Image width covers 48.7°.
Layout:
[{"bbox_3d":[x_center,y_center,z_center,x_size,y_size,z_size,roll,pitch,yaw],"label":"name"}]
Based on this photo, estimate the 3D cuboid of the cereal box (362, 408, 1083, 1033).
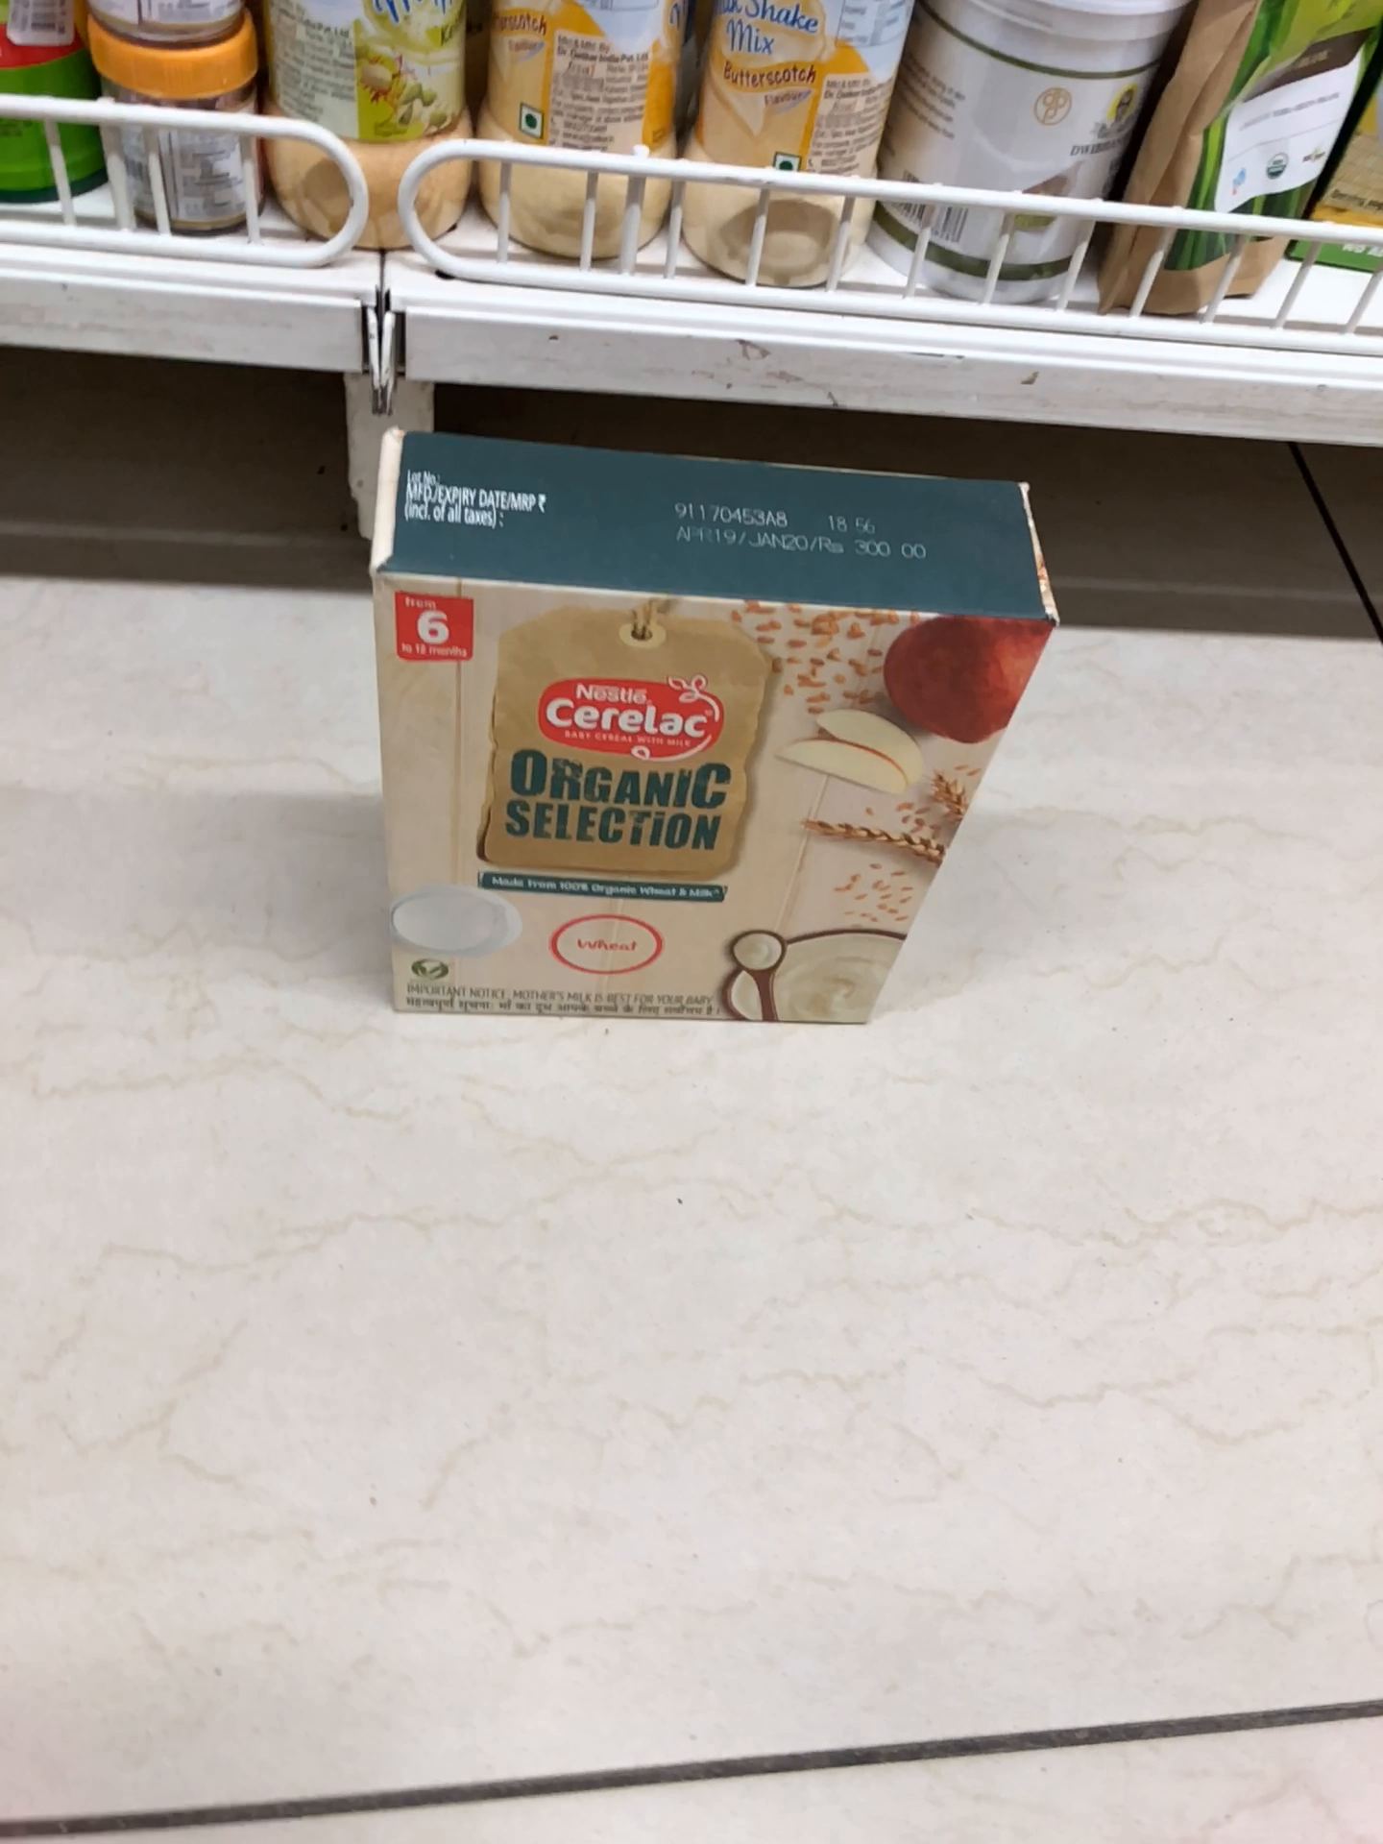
[{"bbox_3d":[-0.005,-0.041,0.425,0.160,0.189,0.050,2,55,-9],"label":"cereal box"}]
